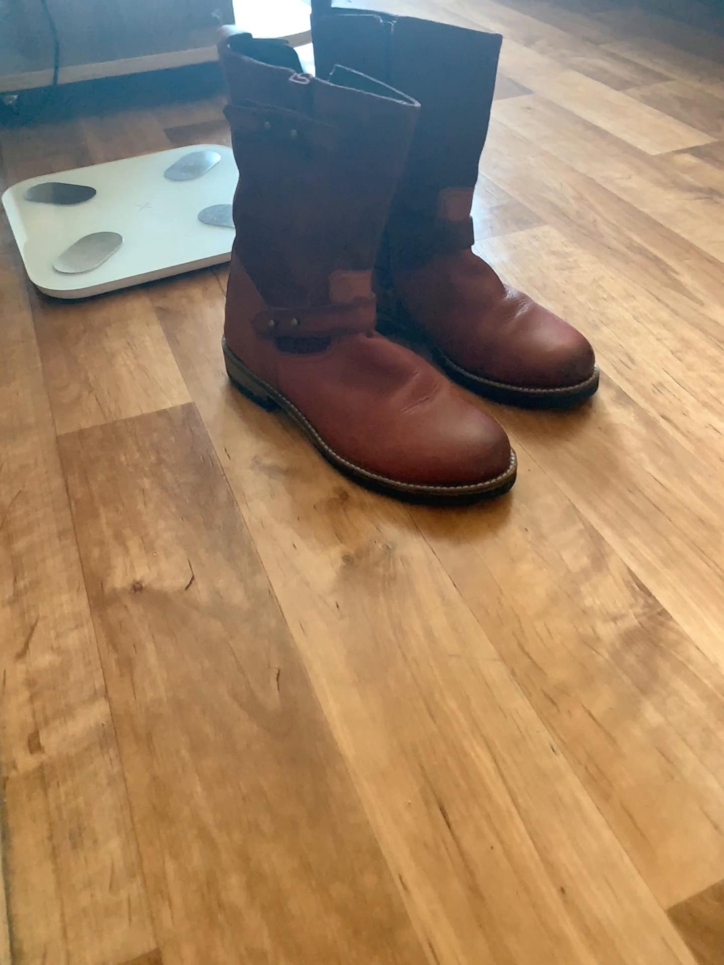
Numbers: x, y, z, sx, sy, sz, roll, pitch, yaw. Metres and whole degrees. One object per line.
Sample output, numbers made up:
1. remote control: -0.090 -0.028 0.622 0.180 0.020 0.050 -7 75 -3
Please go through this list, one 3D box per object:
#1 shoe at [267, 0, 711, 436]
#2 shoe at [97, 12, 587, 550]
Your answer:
1. shoe: 0.068 -0.197 0.520 0.251 0.239 0.090 30 53 29
2. shoe: -0.017 -0.128 0.470 0.251 0.249 0.100 30 53 29
